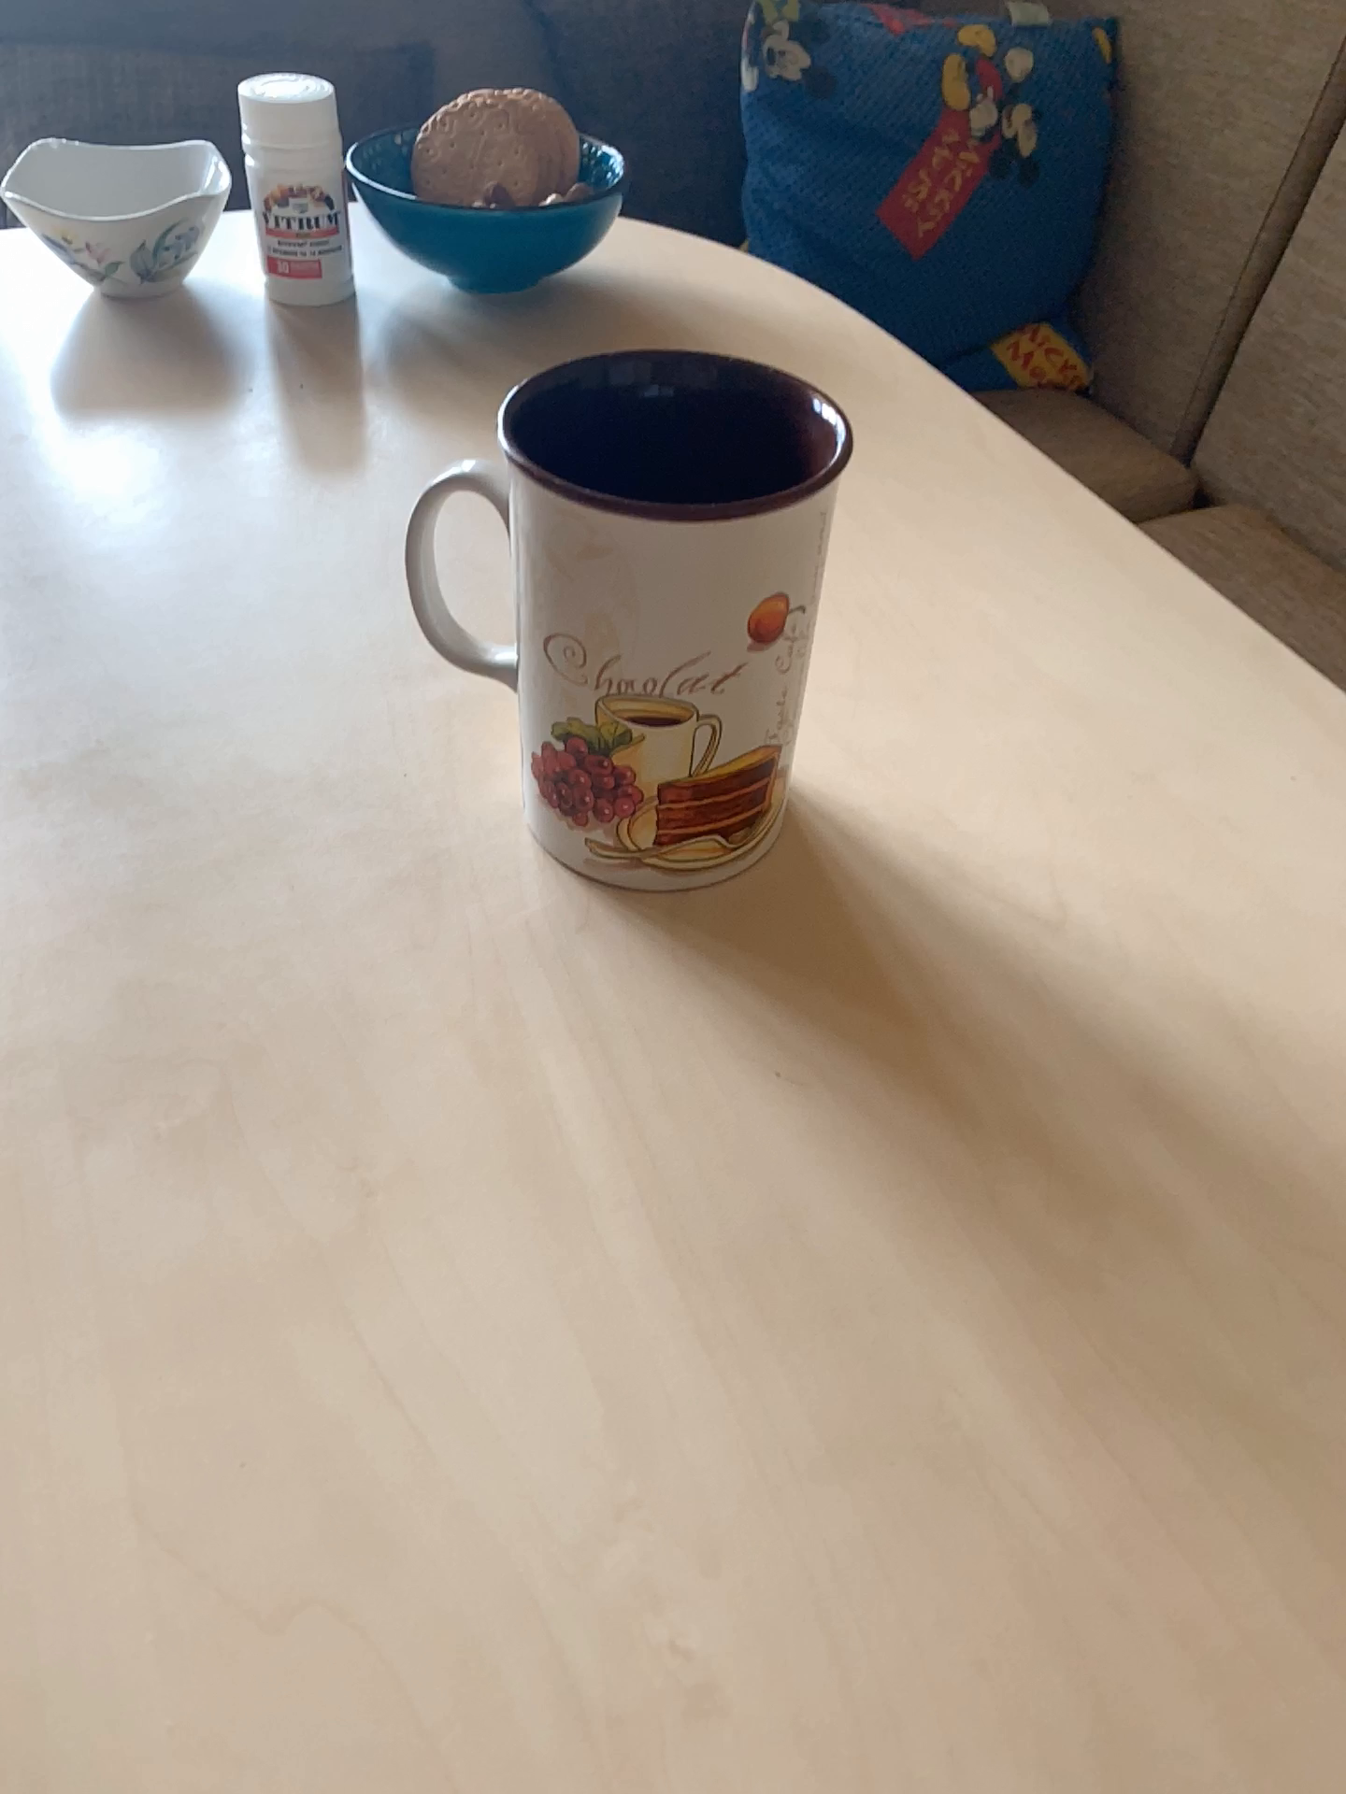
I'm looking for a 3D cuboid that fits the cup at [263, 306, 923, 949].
[{"bbox_3d":[-0.016,-0.070,0.355,0.130,0.109,0.090,13,44,9],"label":"cup"}]
